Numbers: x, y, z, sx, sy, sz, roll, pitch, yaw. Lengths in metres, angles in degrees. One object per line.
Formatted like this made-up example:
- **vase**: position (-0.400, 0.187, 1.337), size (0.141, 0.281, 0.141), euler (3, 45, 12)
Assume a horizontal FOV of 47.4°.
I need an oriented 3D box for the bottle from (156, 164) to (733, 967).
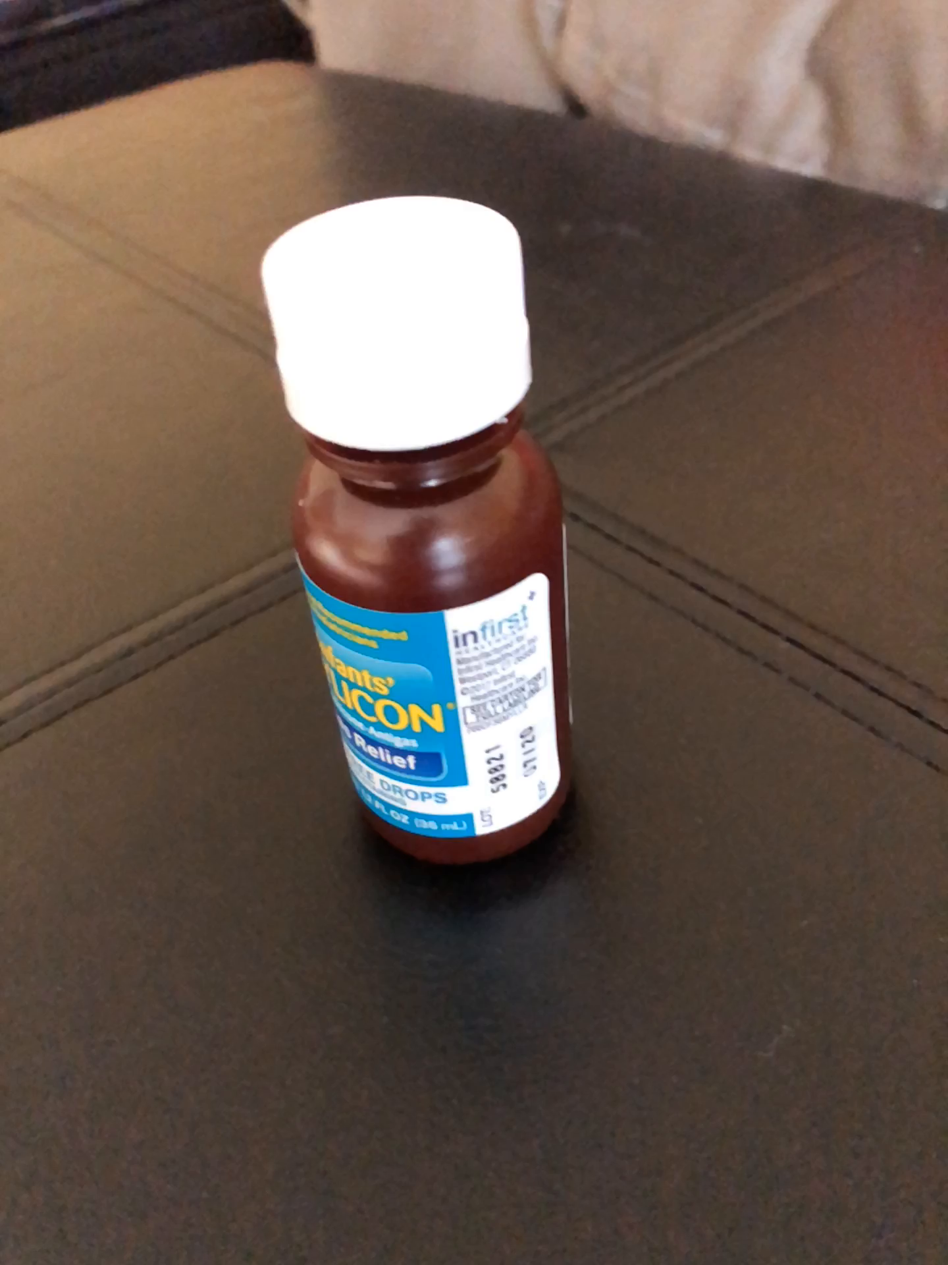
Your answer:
- **bottle**: position (0.001, -0.006, 0.131), size (0.040, 0.080, 0.040), euler (-4, 41, 4)
